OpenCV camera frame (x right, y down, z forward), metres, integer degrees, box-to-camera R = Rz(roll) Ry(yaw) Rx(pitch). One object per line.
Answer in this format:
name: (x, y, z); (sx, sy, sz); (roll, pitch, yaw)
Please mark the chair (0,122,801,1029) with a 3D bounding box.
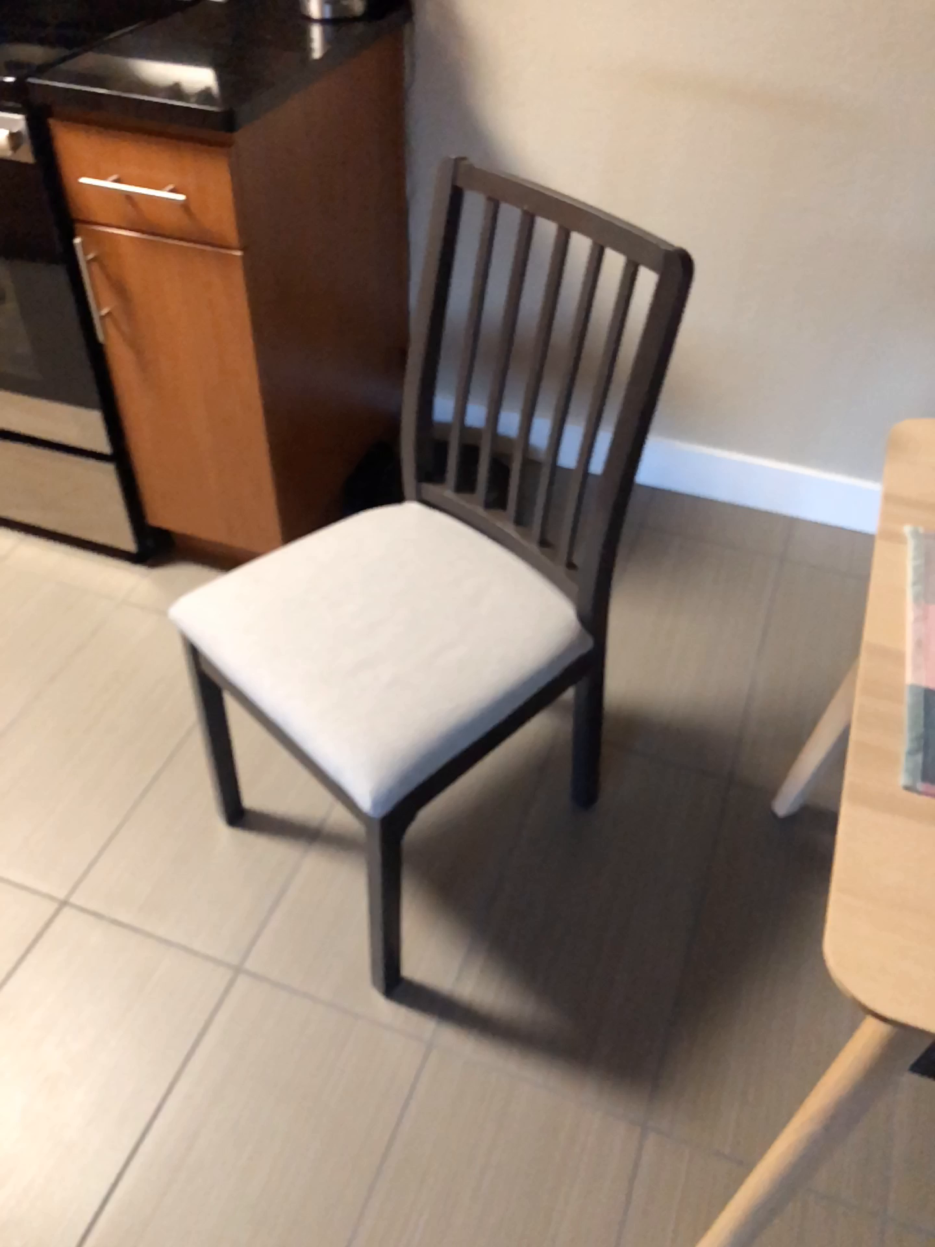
chair: (-0.081, -0.070, 1.359); (0.591, 0.846, 0.582); (-31, 52, -31)
